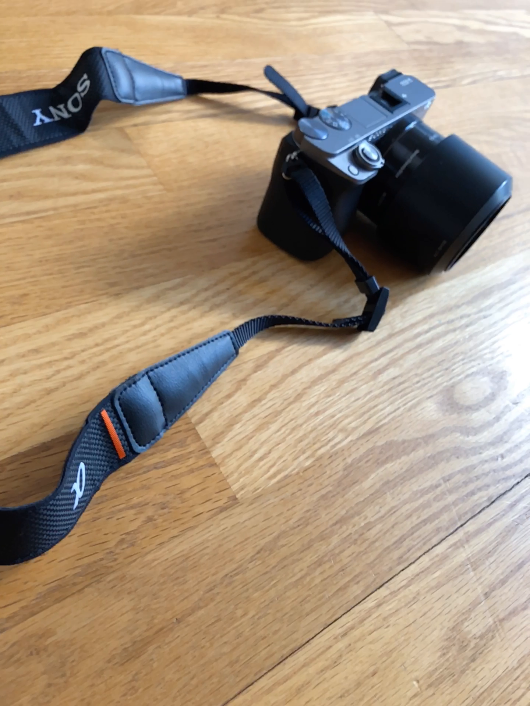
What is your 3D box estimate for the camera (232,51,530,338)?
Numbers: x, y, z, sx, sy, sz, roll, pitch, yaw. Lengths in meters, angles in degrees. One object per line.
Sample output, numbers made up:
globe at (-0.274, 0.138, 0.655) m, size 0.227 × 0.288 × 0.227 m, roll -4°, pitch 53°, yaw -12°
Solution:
camera at (0.074, -0.097, 0.335) m, size 0.110 × 0.060 × 0.141 m, roll 42°, pitch 52°, yaw 10°
